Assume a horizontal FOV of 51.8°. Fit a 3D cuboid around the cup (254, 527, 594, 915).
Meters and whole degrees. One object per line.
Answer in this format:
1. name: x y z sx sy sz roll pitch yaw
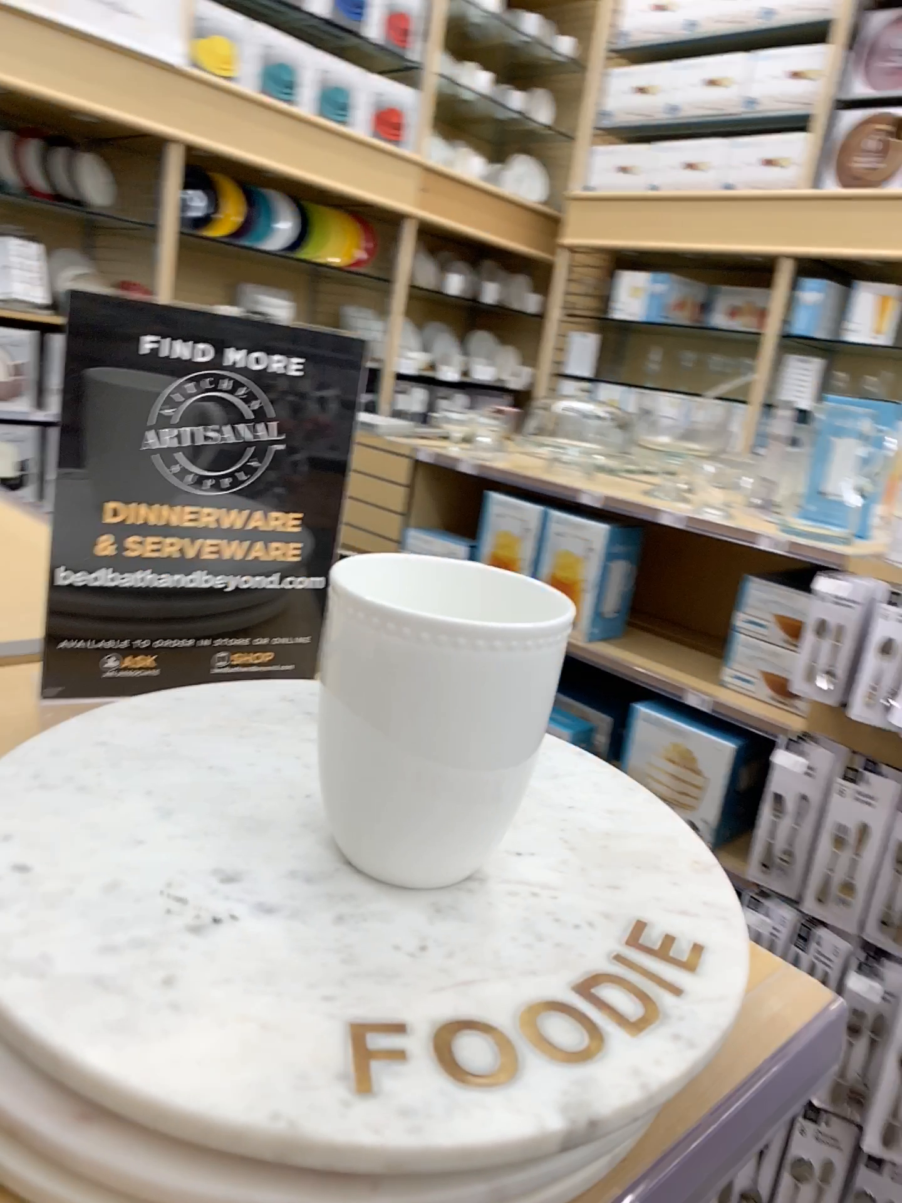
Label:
1. cup: -0.007 0.035 0.356 0.096 0.094 0.125 9 14 1
